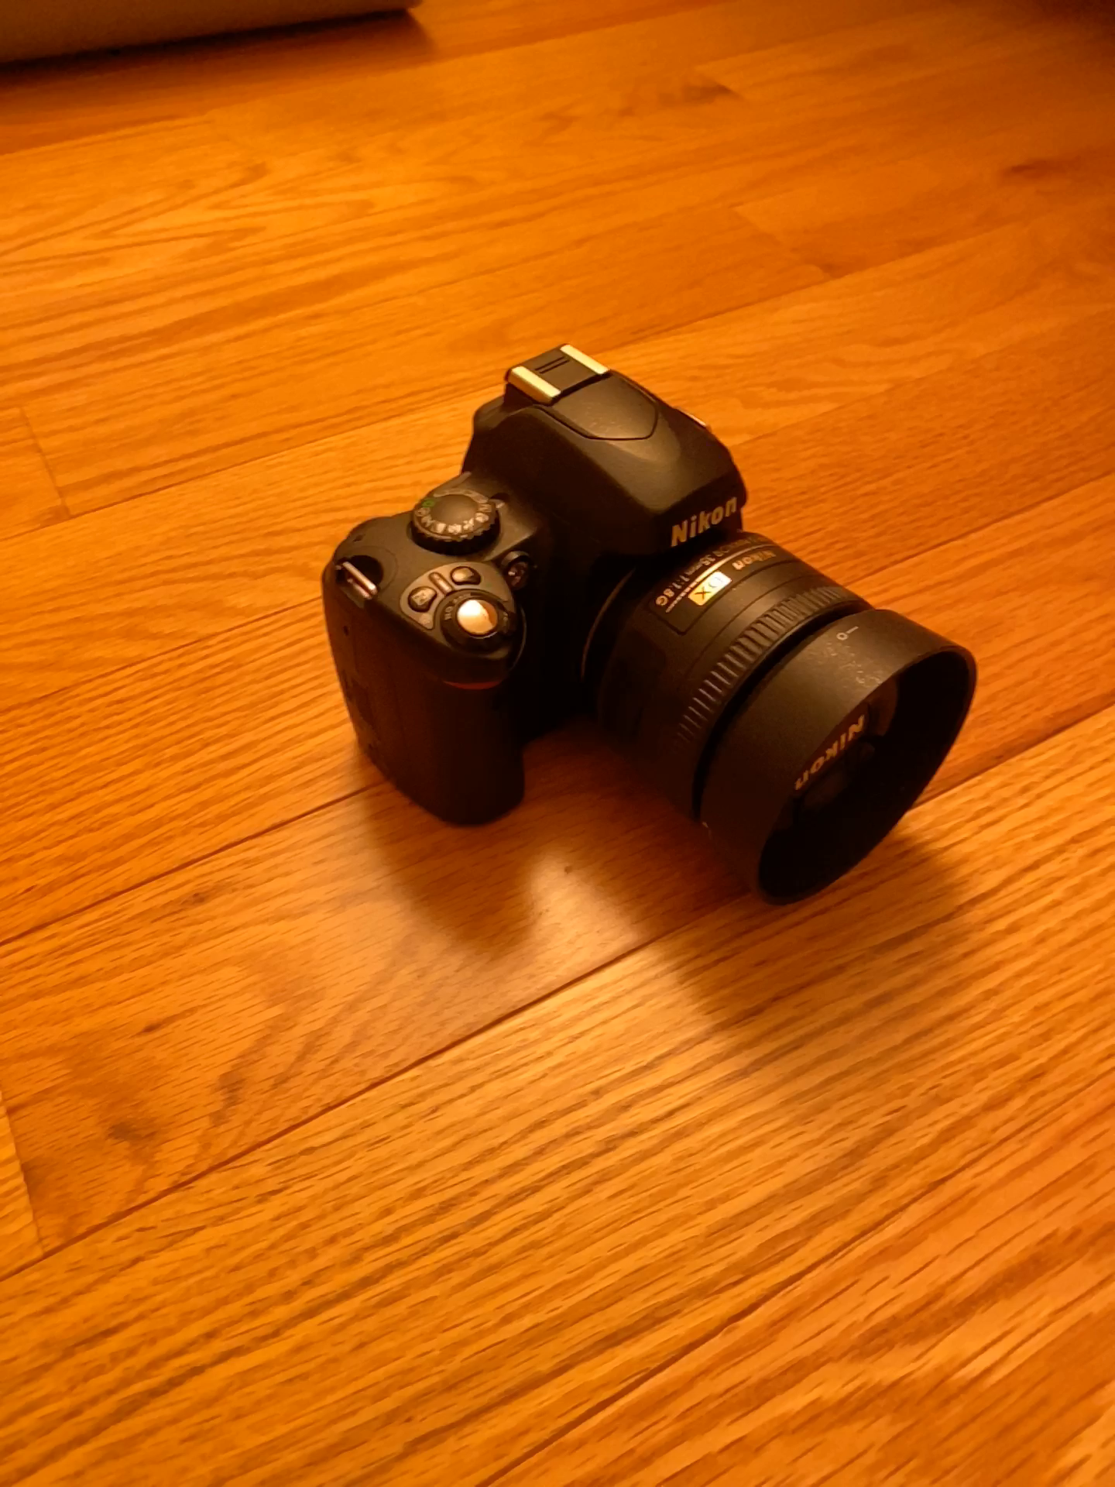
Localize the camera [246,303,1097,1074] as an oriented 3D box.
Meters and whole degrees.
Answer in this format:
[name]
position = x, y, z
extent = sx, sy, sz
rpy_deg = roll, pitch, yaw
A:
[camera]
position = 0.023, -0.025, 0.288
extent = 0.130, 0.080, 0.140
rpy_deg = -31, 55, -24
